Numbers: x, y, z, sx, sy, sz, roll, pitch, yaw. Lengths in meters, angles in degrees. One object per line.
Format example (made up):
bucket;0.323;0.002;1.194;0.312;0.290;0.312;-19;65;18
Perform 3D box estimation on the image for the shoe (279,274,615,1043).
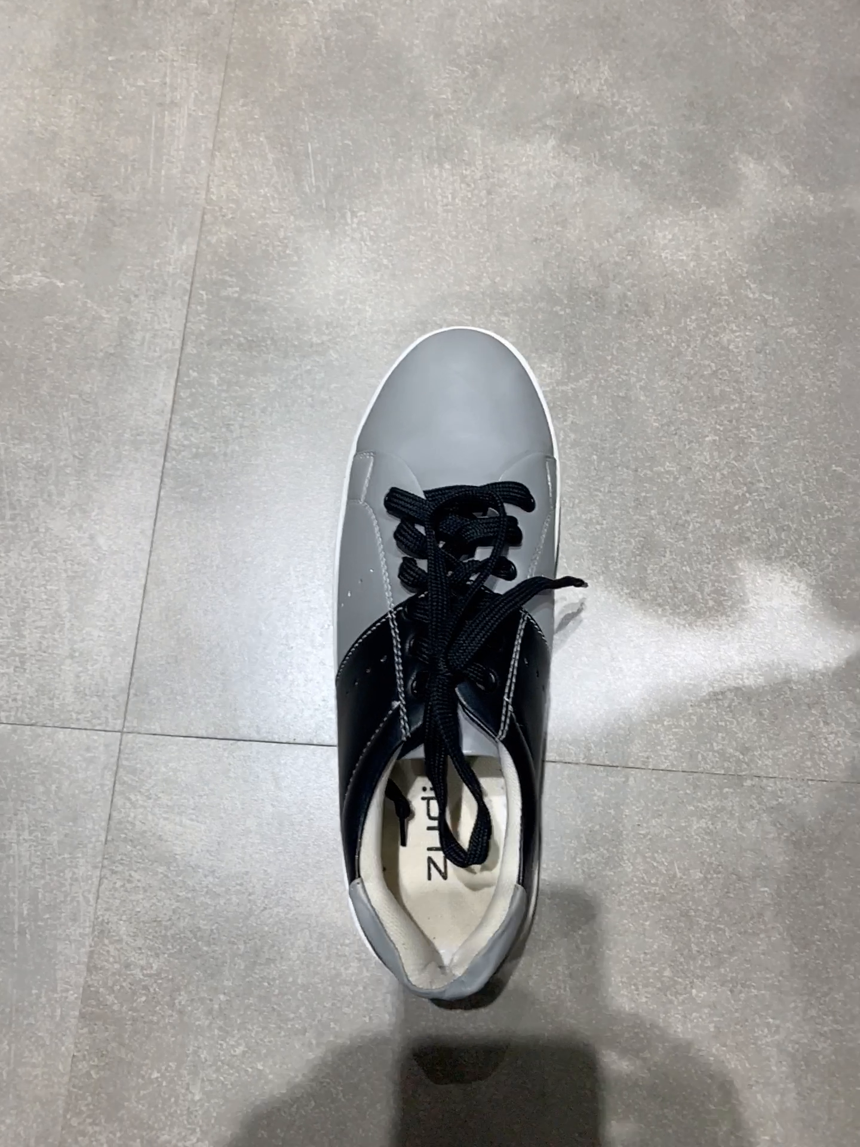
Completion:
shoe;0.009;0.026;0.346;0.101;0.093;0.263;1;75;1
